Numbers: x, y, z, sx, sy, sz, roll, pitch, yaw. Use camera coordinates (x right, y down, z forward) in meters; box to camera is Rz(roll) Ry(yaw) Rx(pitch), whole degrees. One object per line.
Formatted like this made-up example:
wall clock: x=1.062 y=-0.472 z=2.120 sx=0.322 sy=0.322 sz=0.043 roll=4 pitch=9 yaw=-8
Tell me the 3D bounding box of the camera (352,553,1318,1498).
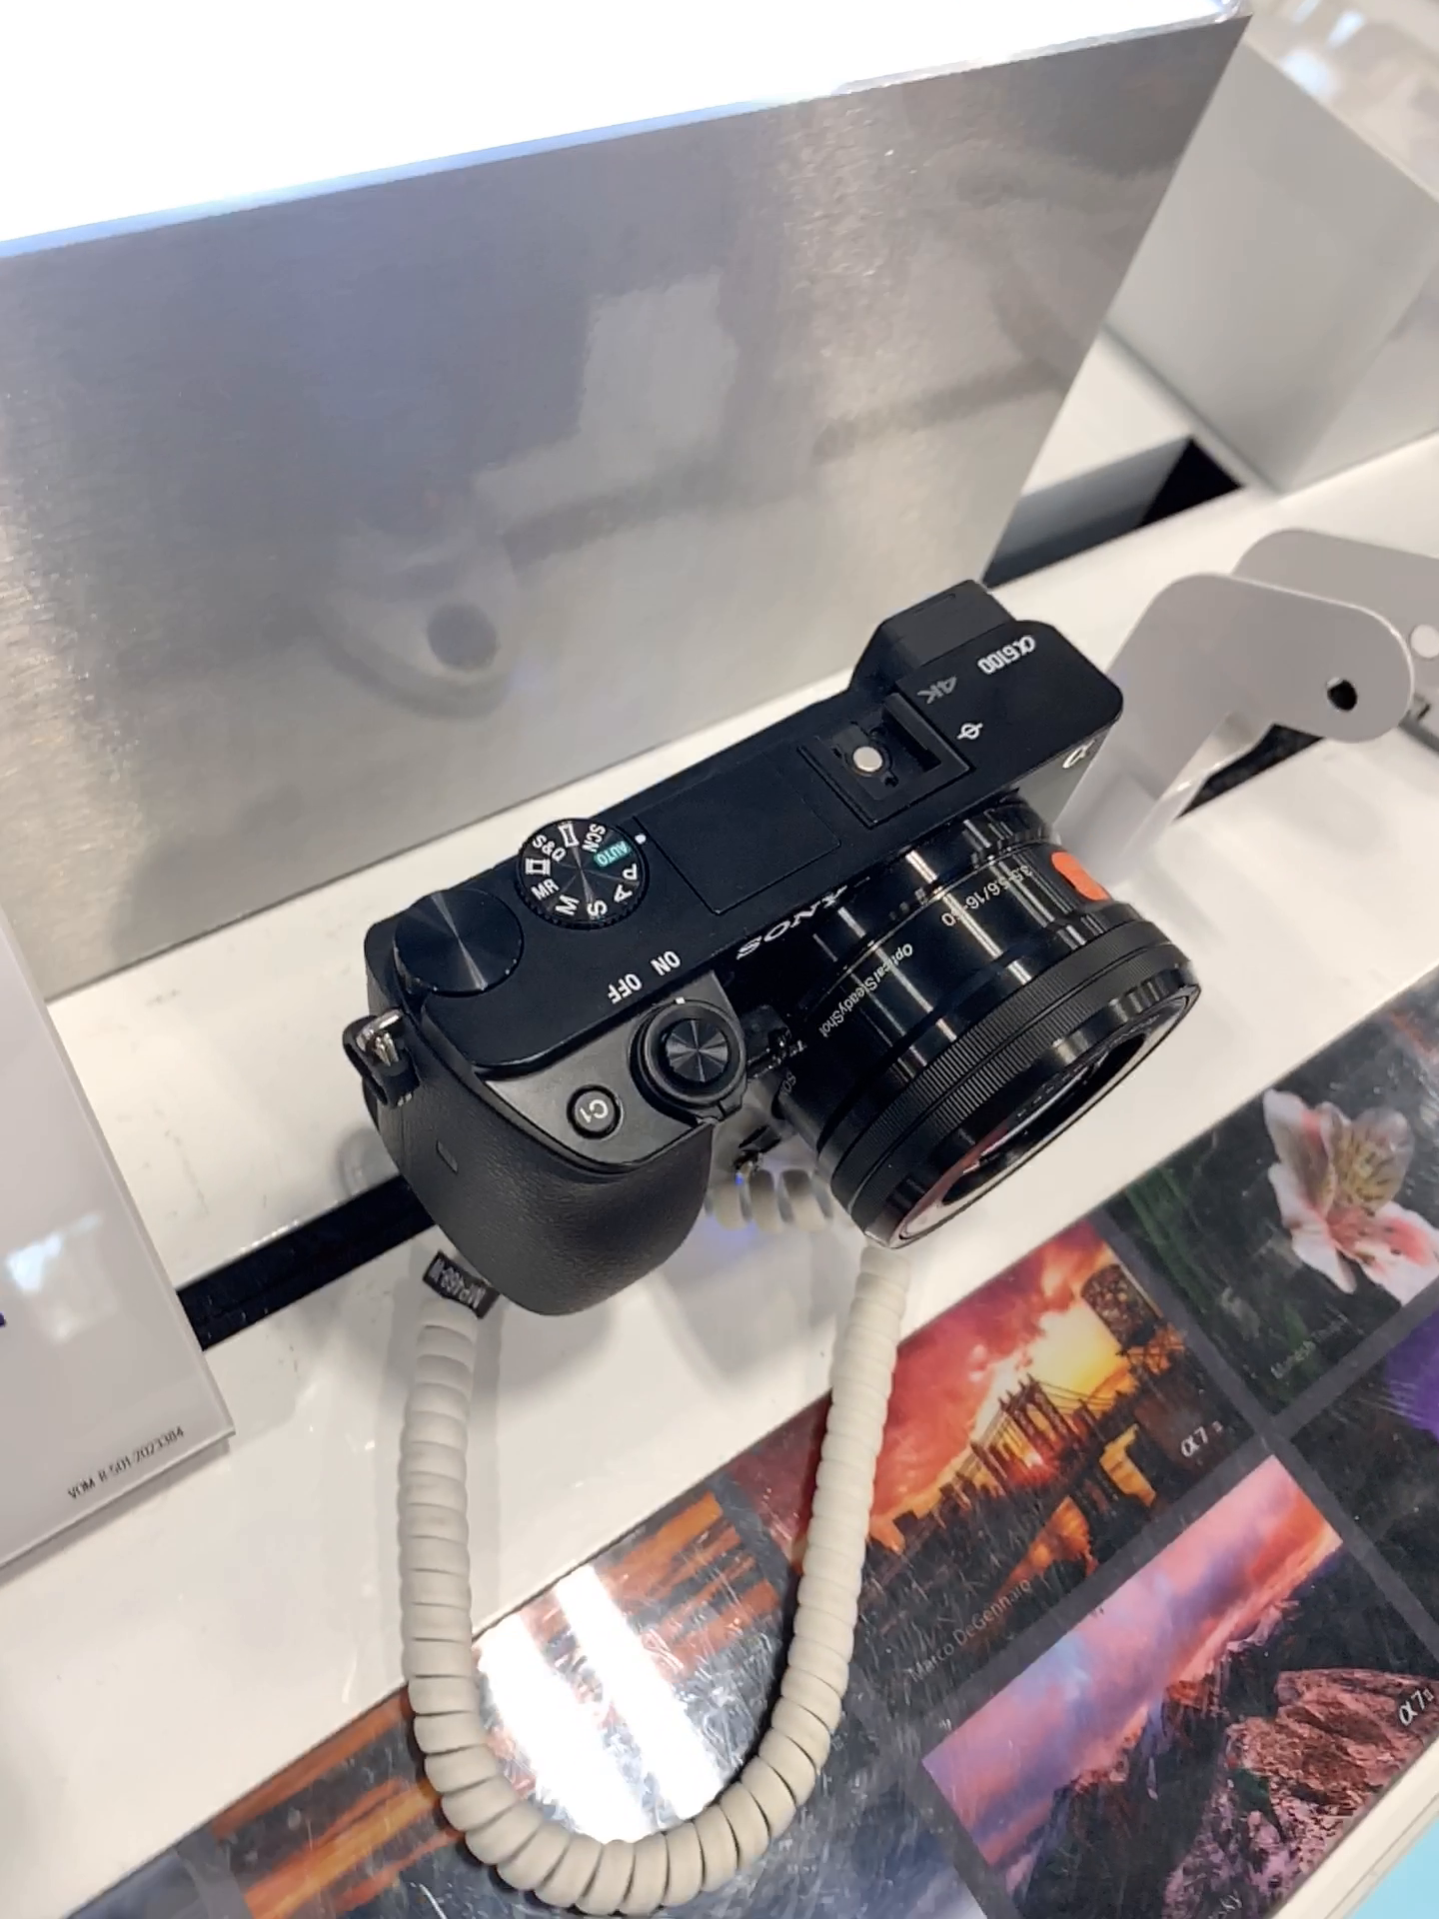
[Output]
camera: x=0.015 y=0.007 z=0.231 sx=0.121 sy=0.070 sz=0.070 roll=-35 pitch=74 yaw=-29
